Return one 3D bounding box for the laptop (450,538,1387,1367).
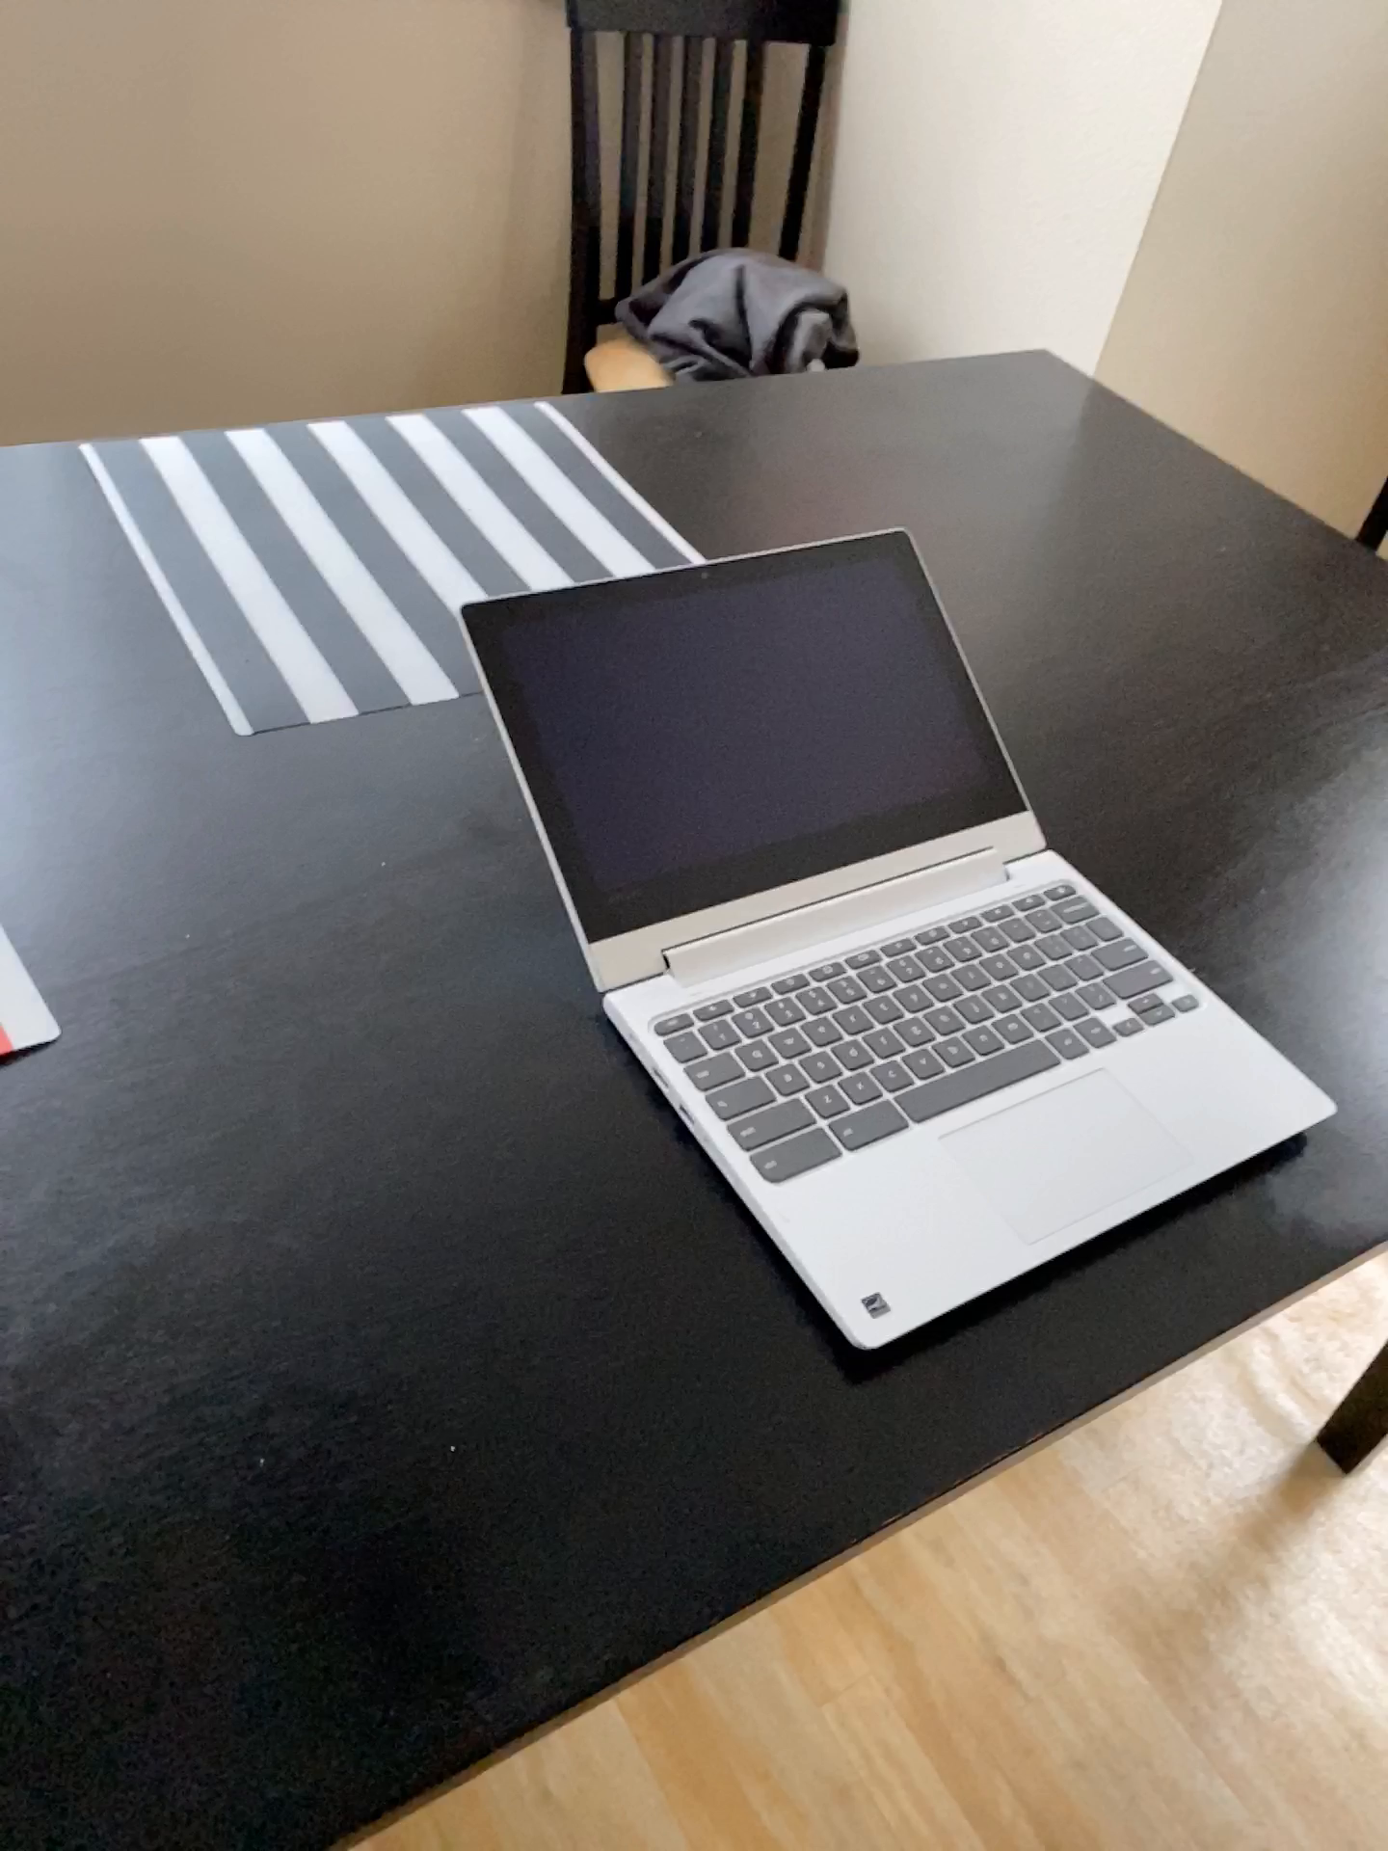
[{"bbox_3d":[0.097,-0.030,0.670,0.285,0.105,0.381,-17,48,-28],"label":"laptop"}]
